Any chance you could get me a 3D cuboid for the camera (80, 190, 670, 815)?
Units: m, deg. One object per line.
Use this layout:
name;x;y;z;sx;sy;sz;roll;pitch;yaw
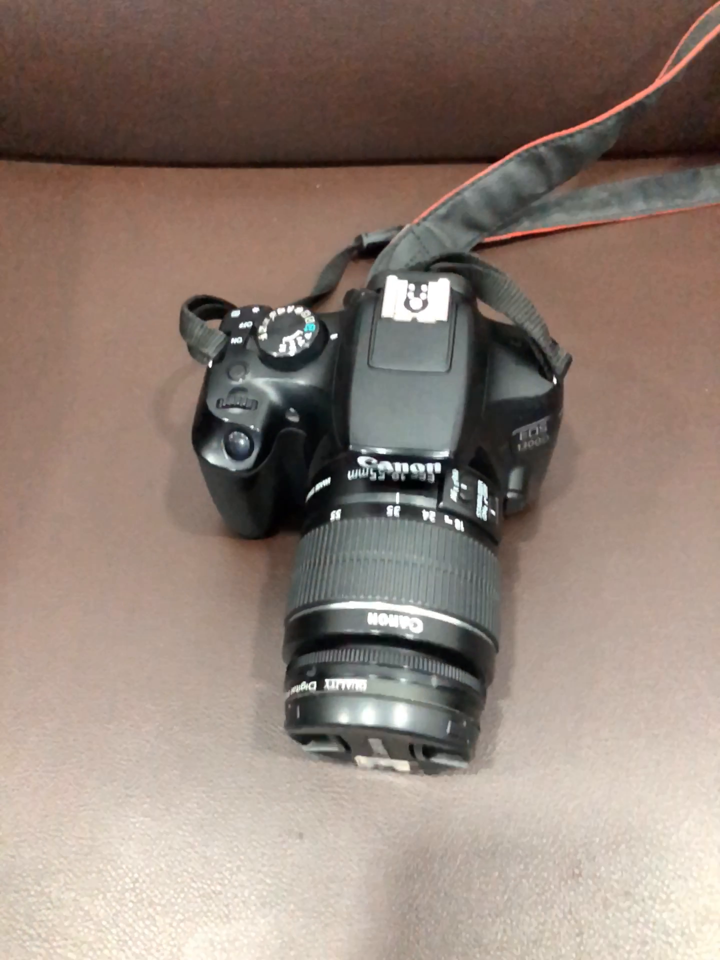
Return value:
camera;0.011;0.002;0.259;0.130;0.090;0.171;5;58;4
